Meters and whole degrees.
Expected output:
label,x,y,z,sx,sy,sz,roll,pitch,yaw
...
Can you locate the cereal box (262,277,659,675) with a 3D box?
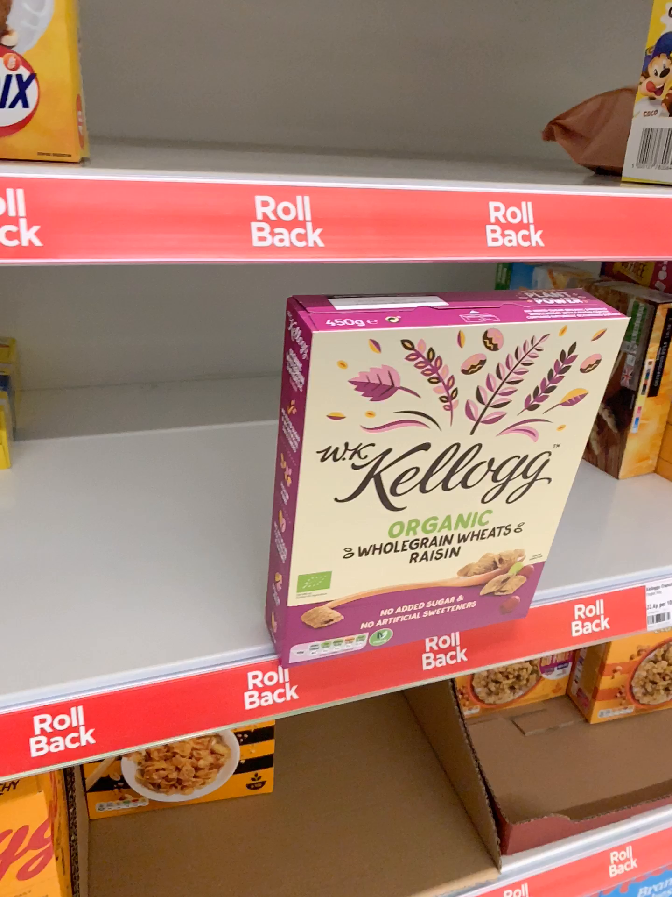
label,x,y,z,sx,sy,sz,roll,pitch,yaw
cereal box,0.063,0.016,0.422,0.200,0.218,0.060,-7,32,-20
